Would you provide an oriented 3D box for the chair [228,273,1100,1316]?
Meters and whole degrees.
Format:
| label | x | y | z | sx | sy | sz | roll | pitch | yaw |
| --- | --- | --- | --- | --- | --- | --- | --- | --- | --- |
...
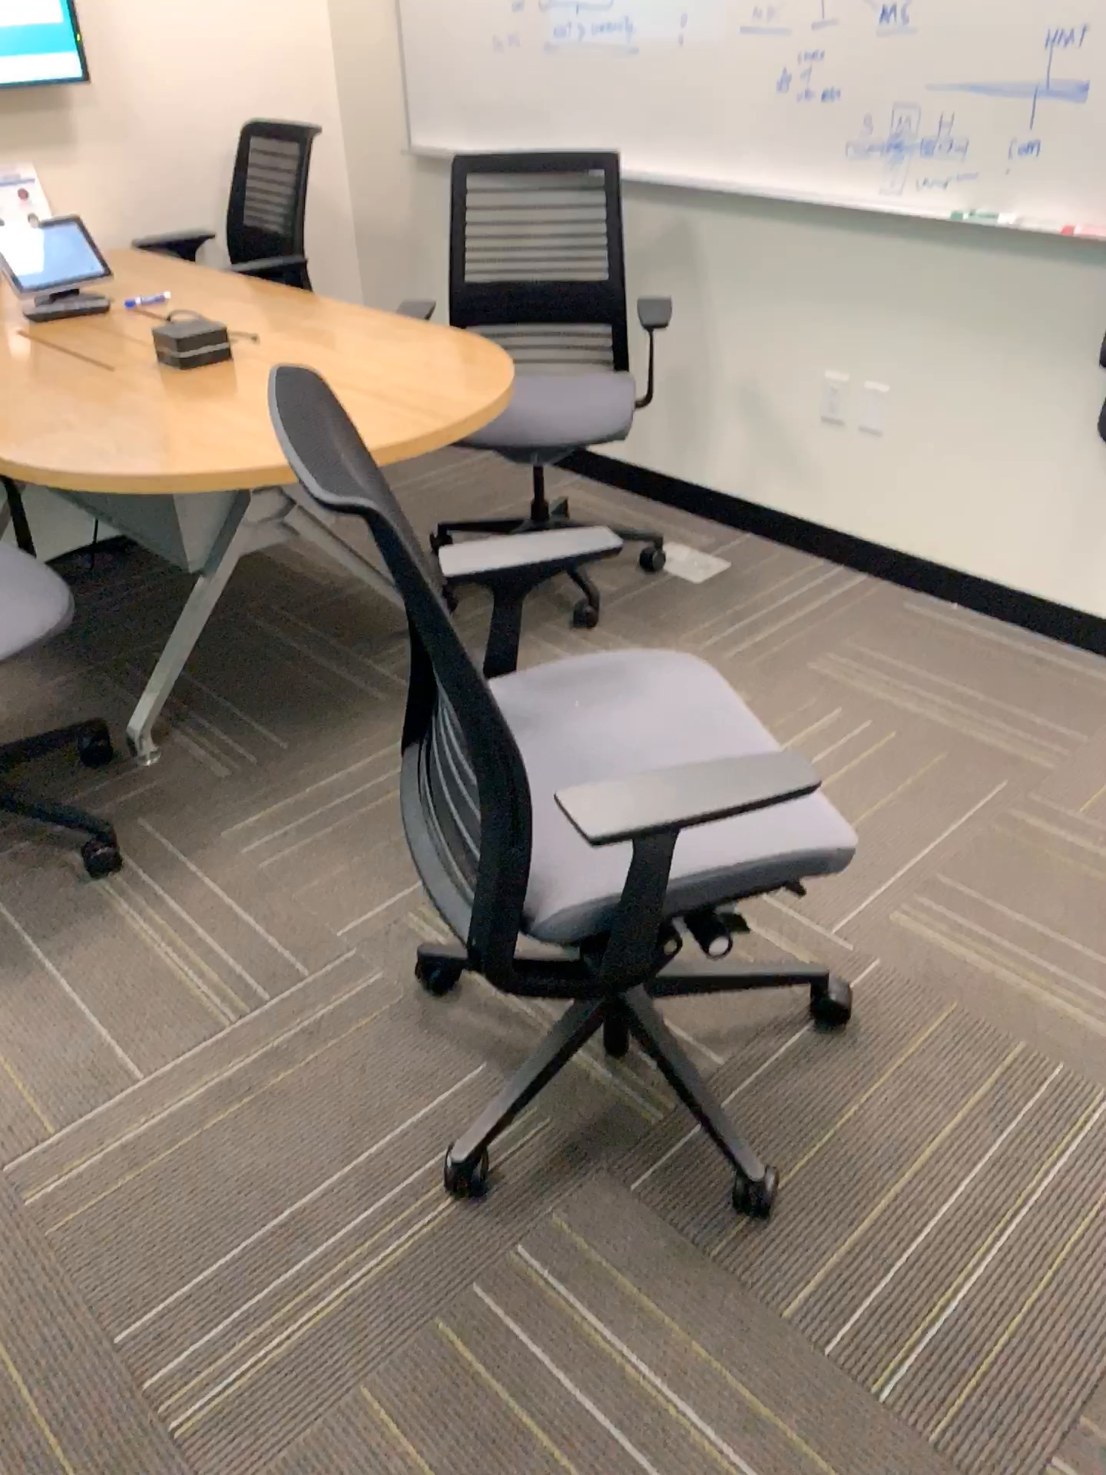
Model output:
| label | x | y | z | sx | sy | sz | roll | pitch | yaw |
| --- | --- | --- | --- | --- | --- | --- | --- | --- | --- |
| chair | 0.052 | 0.045 | 1.412 | 0.690 | 0.994 | 0.654 | -10 | 35 | -12 |
